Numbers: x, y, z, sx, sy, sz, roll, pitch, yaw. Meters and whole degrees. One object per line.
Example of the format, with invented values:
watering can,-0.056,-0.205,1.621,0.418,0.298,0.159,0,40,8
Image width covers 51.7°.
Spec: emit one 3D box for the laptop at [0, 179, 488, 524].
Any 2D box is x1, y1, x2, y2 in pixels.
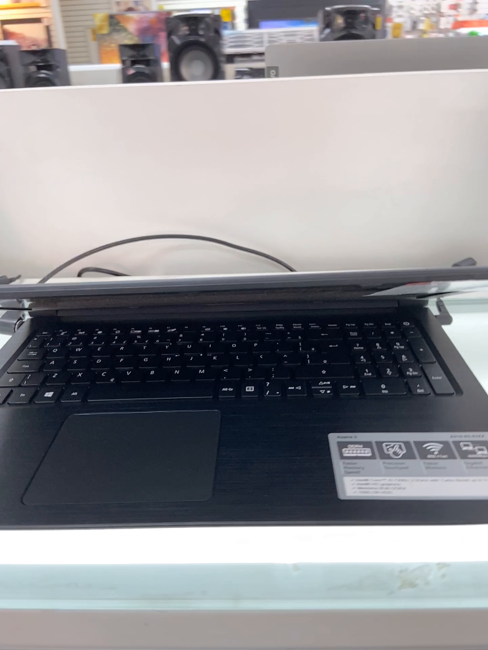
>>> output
laptop,-0.025,-0.006,0.345,0.381,0.118,0.237,-2,27,2
